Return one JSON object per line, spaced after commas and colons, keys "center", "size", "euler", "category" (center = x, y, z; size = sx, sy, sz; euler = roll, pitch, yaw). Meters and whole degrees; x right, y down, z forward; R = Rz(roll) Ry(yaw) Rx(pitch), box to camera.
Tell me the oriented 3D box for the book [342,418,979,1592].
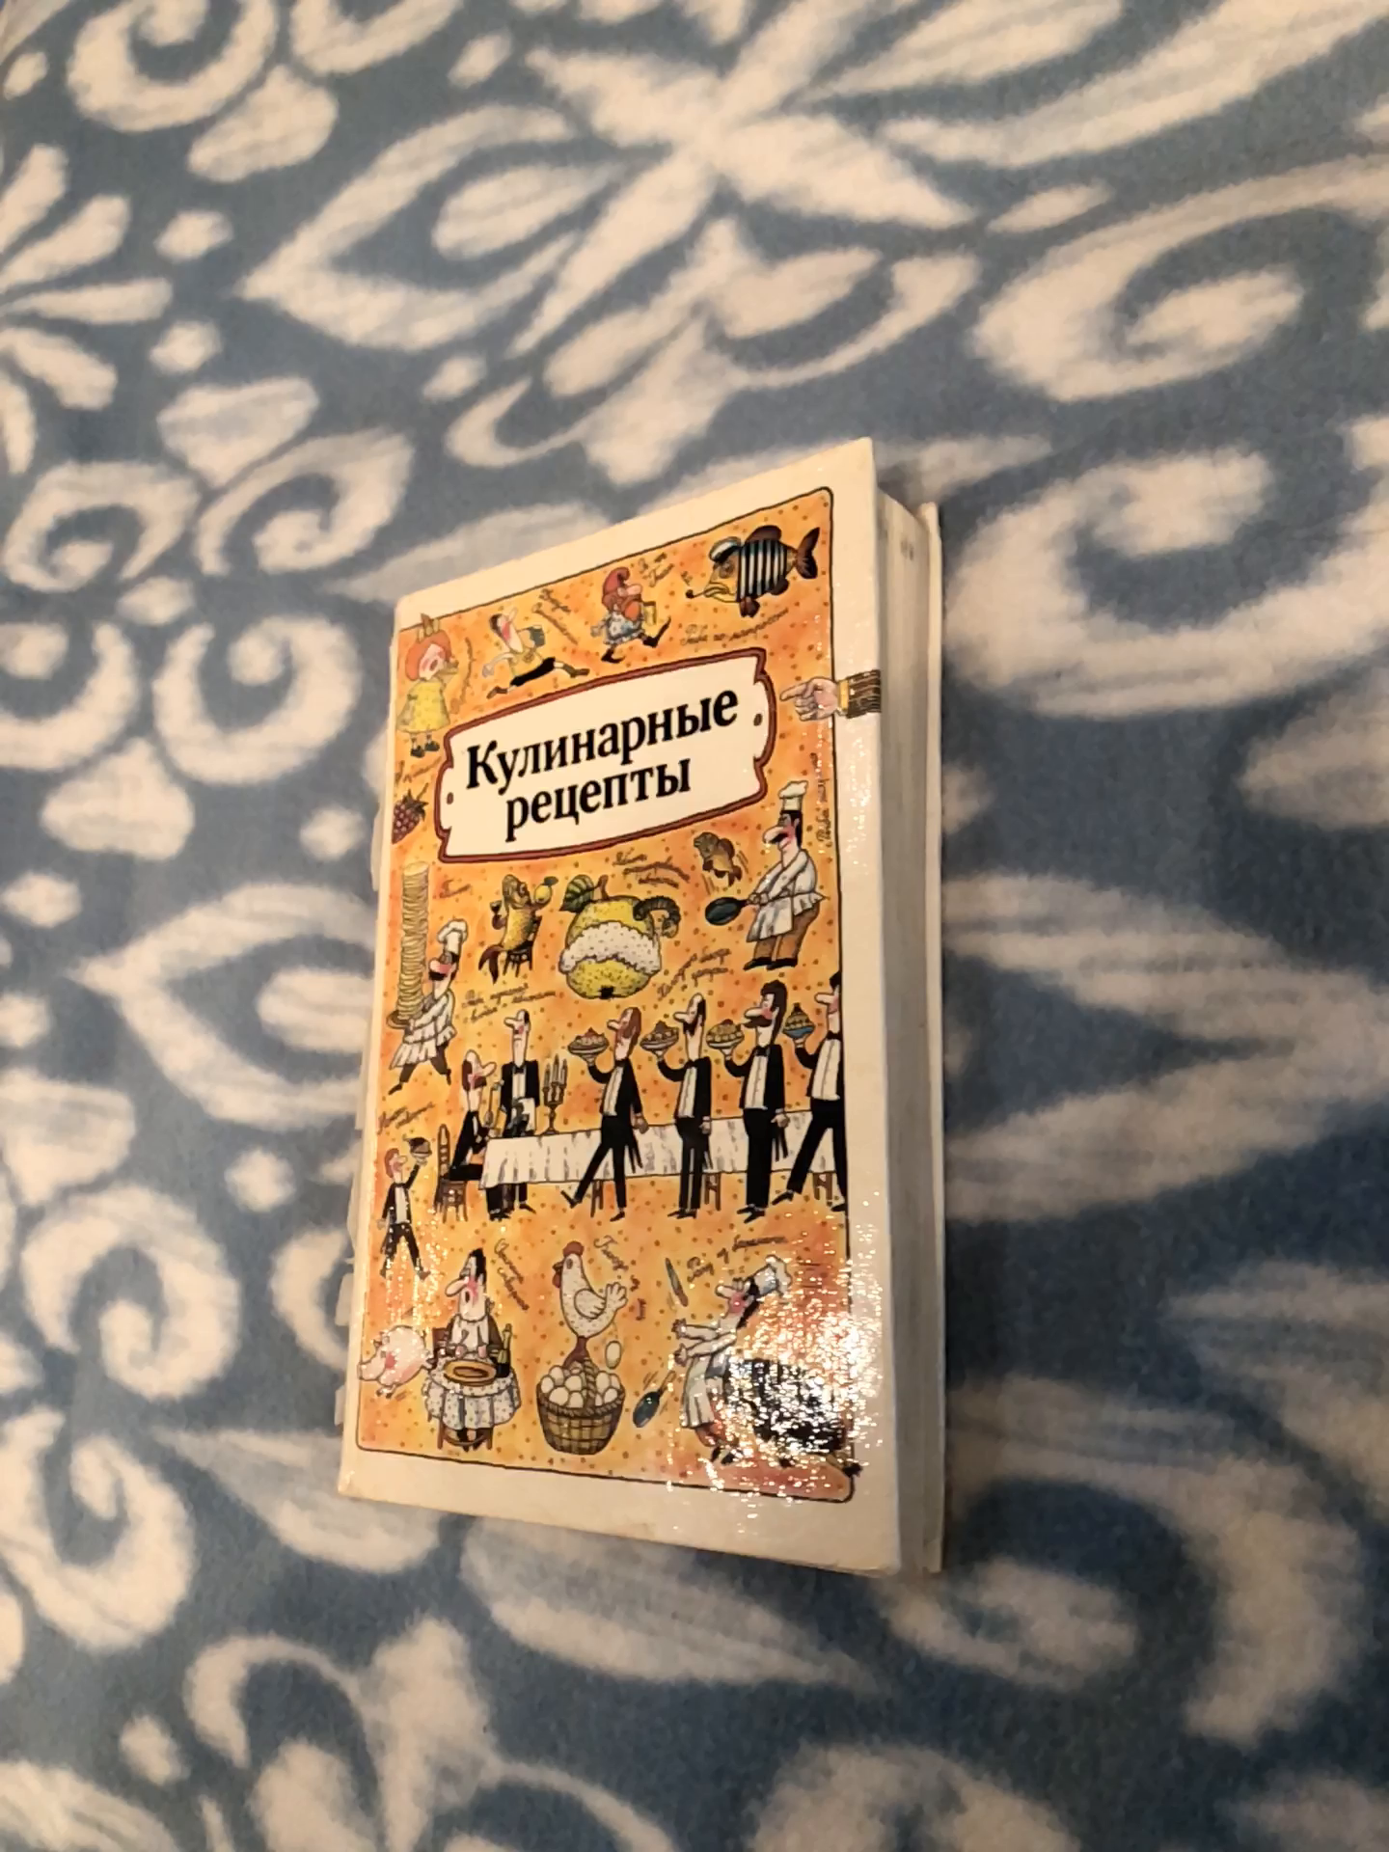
{"center": [-0.013, 0.017, 0.340], "size": [0.142, 0.032, 0.220], "euler": [-9, 75, 37], "category": "book"}
